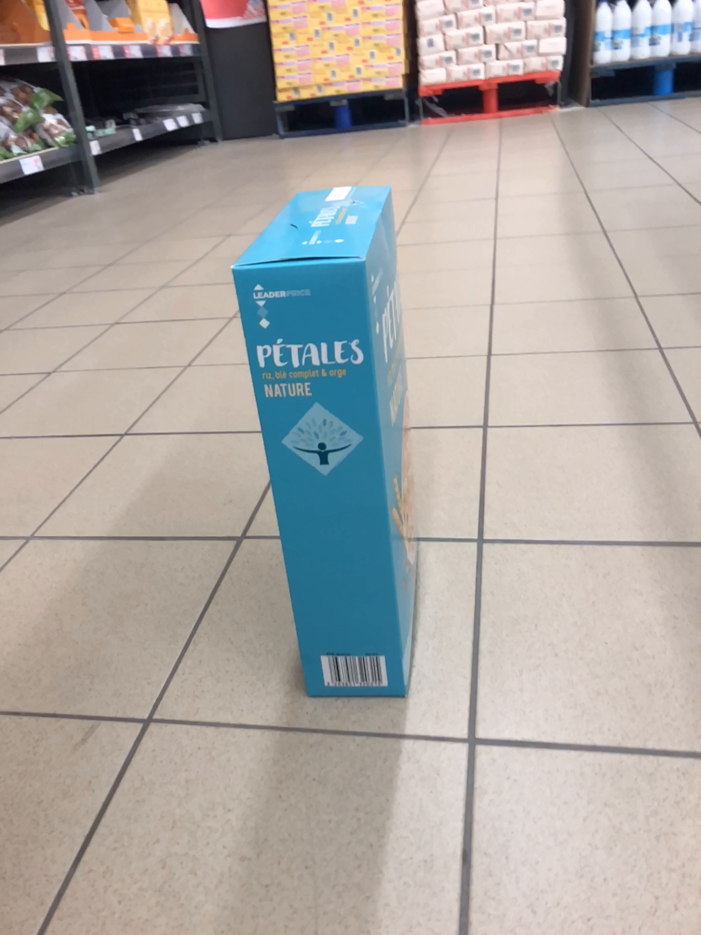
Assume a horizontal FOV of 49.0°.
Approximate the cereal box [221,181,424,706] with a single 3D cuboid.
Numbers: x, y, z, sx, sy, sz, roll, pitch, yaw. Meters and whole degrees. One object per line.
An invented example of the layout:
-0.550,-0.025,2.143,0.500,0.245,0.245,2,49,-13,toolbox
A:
0.001,-0.023,0.490,0.070,0.269,0.201,-2,28,9,cereal box
